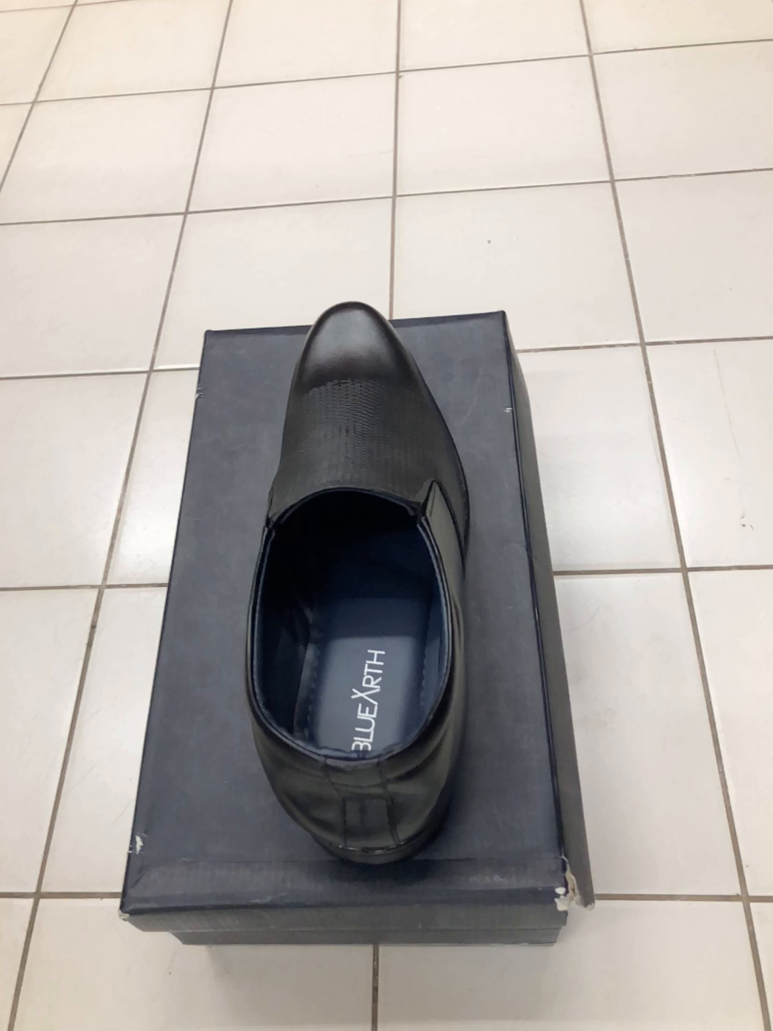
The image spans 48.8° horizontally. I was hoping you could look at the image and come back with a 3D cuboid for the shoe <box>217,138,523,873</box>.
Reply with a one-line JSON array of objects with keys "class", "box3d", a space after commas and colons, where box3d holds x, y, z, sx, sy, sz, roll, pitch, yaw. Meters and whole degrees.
[{"class": "shoe", "box3d": [-0.006, -0.019, 0.422, 0.100, 0.130, 0.341, -5, 58, 3]}]
